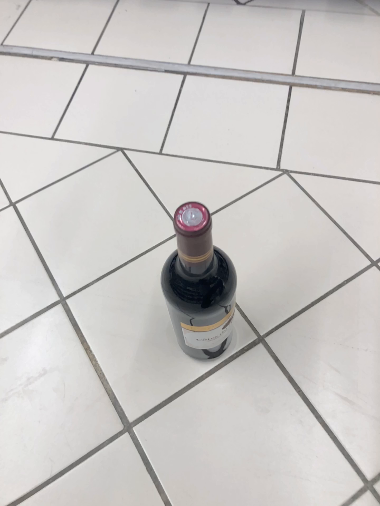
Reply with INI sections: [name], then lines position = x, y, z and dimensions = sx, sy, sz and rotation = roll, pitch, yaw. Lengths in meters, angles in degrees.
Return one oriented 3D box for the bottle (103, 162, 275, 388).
[bottle]
position = 0.008, 0.049, 0.433
dimensions = 0.090, 0.289, 0.090
rotation = -2, 62, 3
